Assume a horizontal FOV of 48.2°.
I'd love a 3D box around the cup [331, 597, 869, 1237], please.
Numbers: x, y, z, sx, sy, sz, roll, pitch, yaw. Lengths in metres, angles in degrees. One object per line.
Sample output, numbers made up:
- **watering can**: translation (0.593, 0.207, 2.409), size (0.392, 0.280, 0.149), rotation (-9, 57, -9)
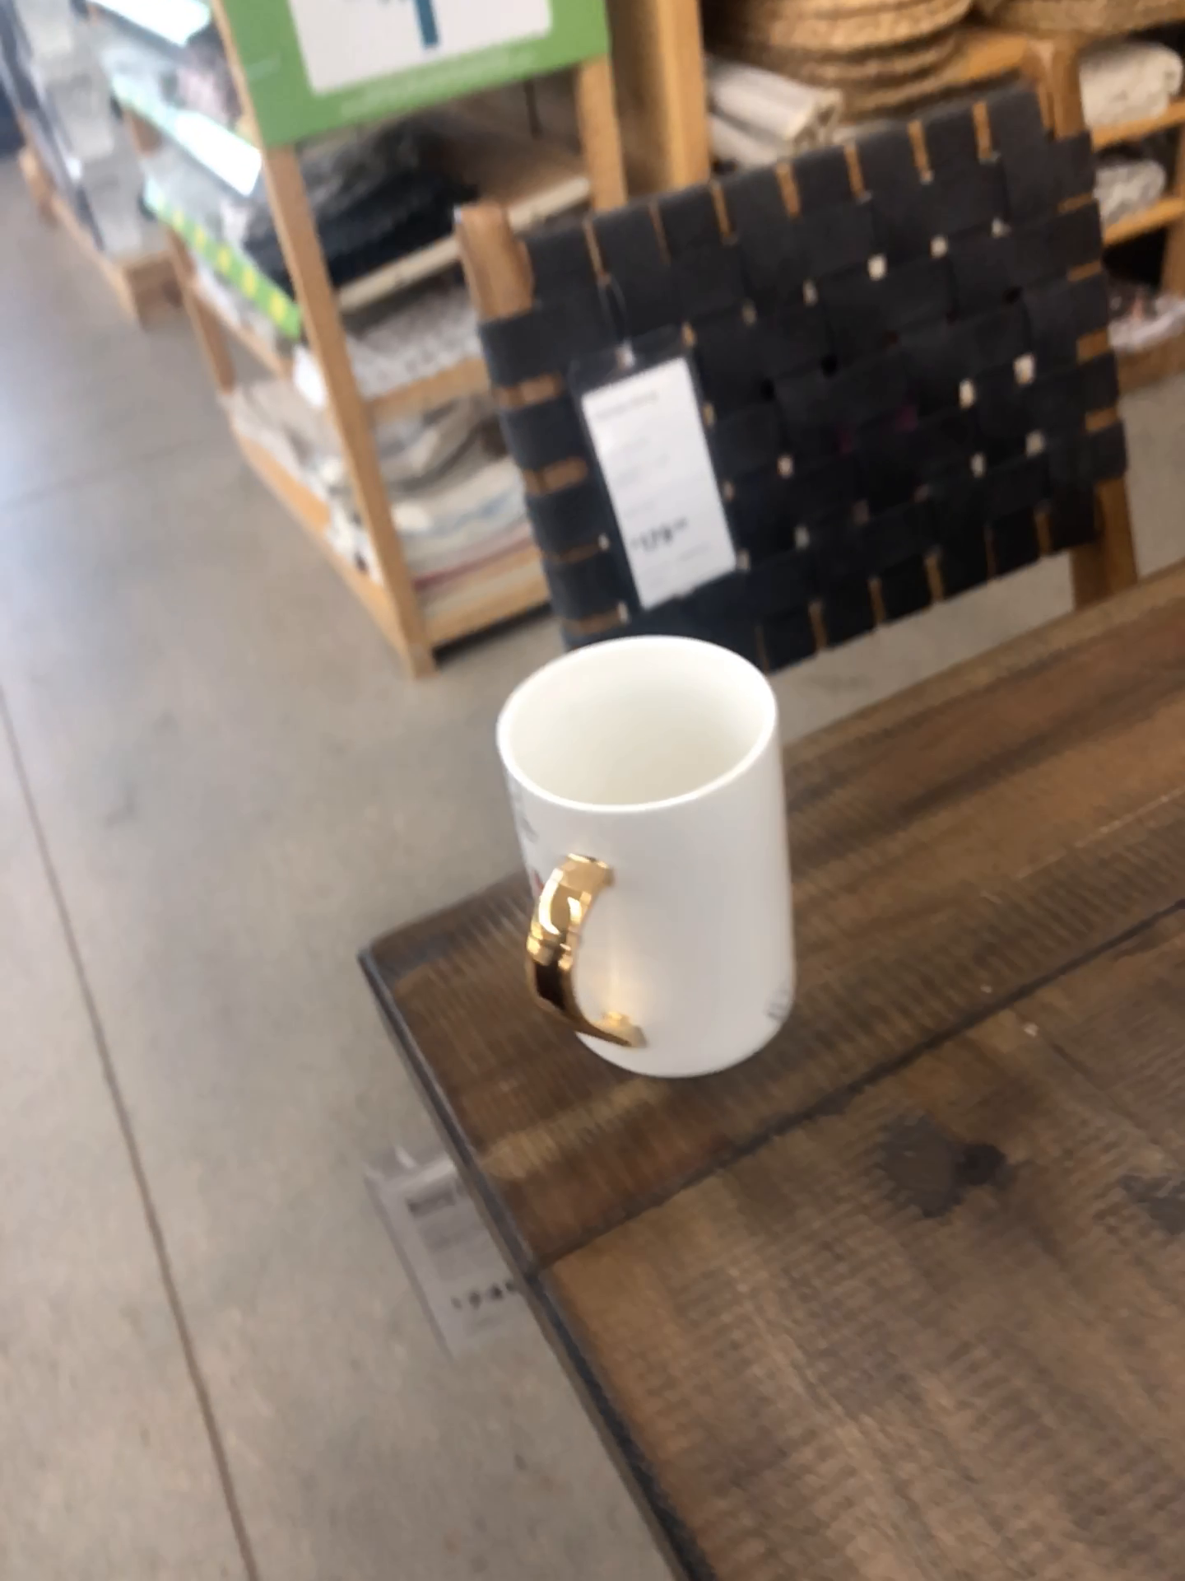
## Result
- **cup**: translation (0.013, 0.032, 0.390), size (0.097, 0.115, 0.119), rotation (16, 46, 28)
